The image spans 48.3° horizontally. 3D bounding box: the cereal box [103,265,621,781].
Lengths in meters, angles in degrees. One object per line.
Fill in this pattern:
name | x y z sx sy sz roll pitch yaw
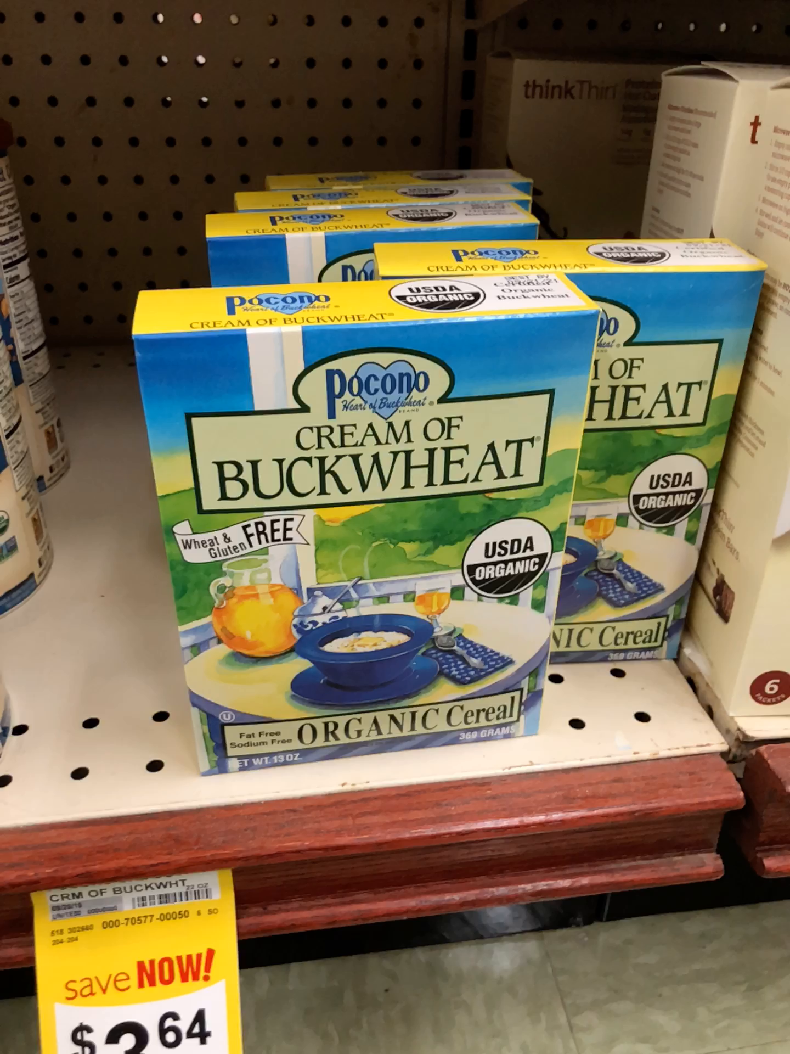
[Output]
cereal box | -0.010 0.002 0.273 0.130 0.150 0.040 -5 30 -9
